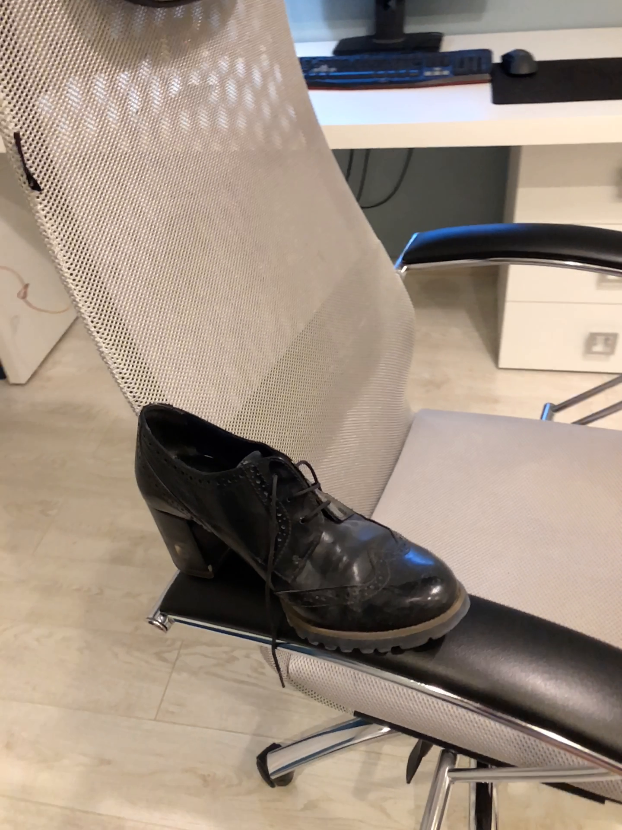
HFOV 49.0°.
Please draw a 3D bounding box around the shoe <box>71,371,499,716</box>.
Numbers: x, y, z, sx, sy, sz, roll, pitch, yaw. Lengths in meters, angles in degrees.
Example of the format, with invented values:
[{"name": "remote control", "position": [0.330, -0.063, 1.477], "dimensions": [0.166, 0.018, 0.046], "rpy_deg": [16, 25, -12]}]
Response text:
[{"name": "shoe", "position": [-0.019, 0.068, 0.449], "dimensions": [0.250, 0.119, 0.101], "rpy_deg": [14, 44, 34]}]
